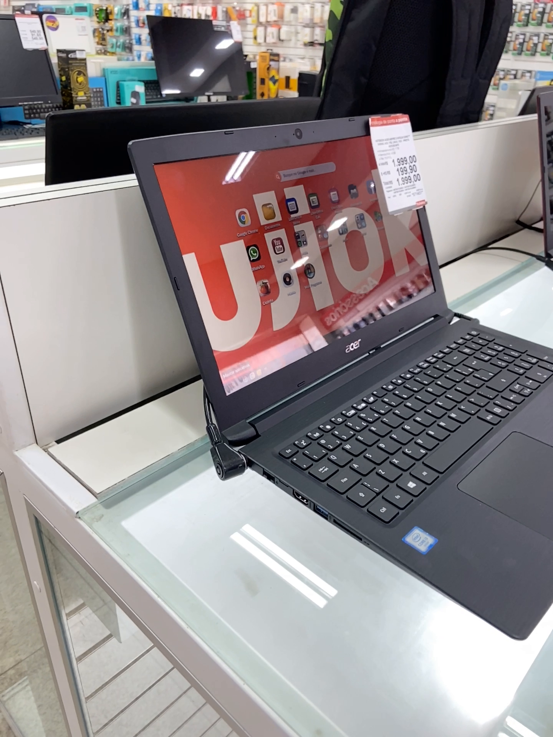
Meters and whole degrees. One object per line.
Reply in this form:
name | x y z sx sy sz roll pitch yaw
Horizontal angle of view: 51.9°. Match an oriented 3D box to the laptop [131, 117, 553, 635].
laptop | 0.153 -0.075 0.511 0.370 0.230 0.393 26 37 37
